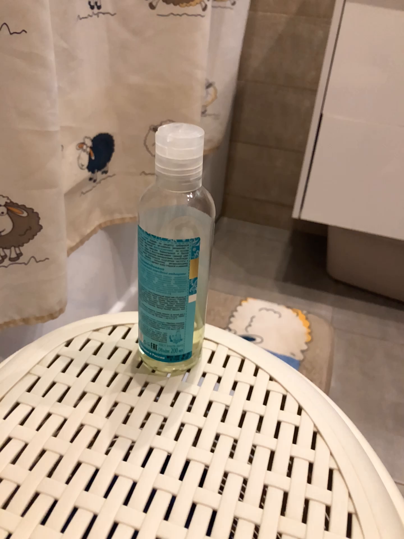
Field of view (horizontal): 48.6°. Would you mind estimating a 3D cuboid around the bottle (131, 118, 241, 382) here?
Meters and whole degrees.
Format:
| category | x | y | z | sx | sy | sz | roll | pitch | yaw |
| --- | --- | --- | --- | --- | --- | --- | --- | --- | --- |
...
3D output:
| category | x | y | z | sx | sy | sz | roll | pitch | yaw |
| --- | --- | --- | --- | --- | --- | --- | --- | --- | --- |
| bottle | -0.012 | -0.007 | 0.276 | 0.045 | 0.153 | 0.045 | 4 | 32 | -2 |
